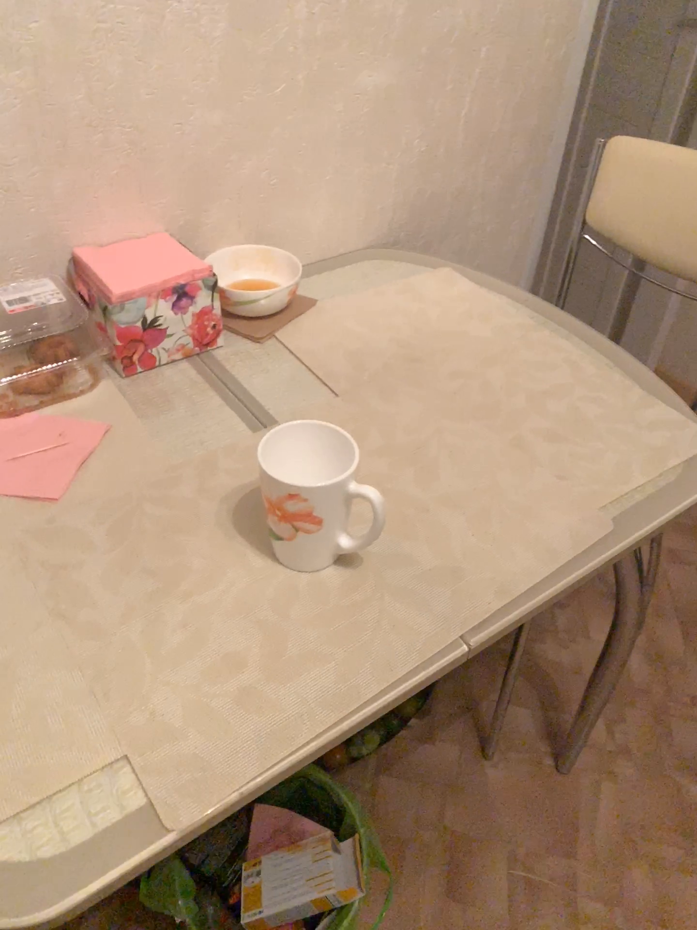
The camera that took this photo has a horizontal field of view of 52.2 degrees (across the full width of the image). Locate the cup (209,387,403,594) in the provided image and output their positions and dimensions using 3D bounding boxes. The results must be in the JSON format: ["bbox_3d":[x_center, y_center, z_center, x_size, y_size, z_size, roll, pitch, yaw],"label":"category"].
[{"bbox_3d":[-0.032,0.018,0.563,0.119,0.099,0.084,21,45,20],"label":"cup"}]
